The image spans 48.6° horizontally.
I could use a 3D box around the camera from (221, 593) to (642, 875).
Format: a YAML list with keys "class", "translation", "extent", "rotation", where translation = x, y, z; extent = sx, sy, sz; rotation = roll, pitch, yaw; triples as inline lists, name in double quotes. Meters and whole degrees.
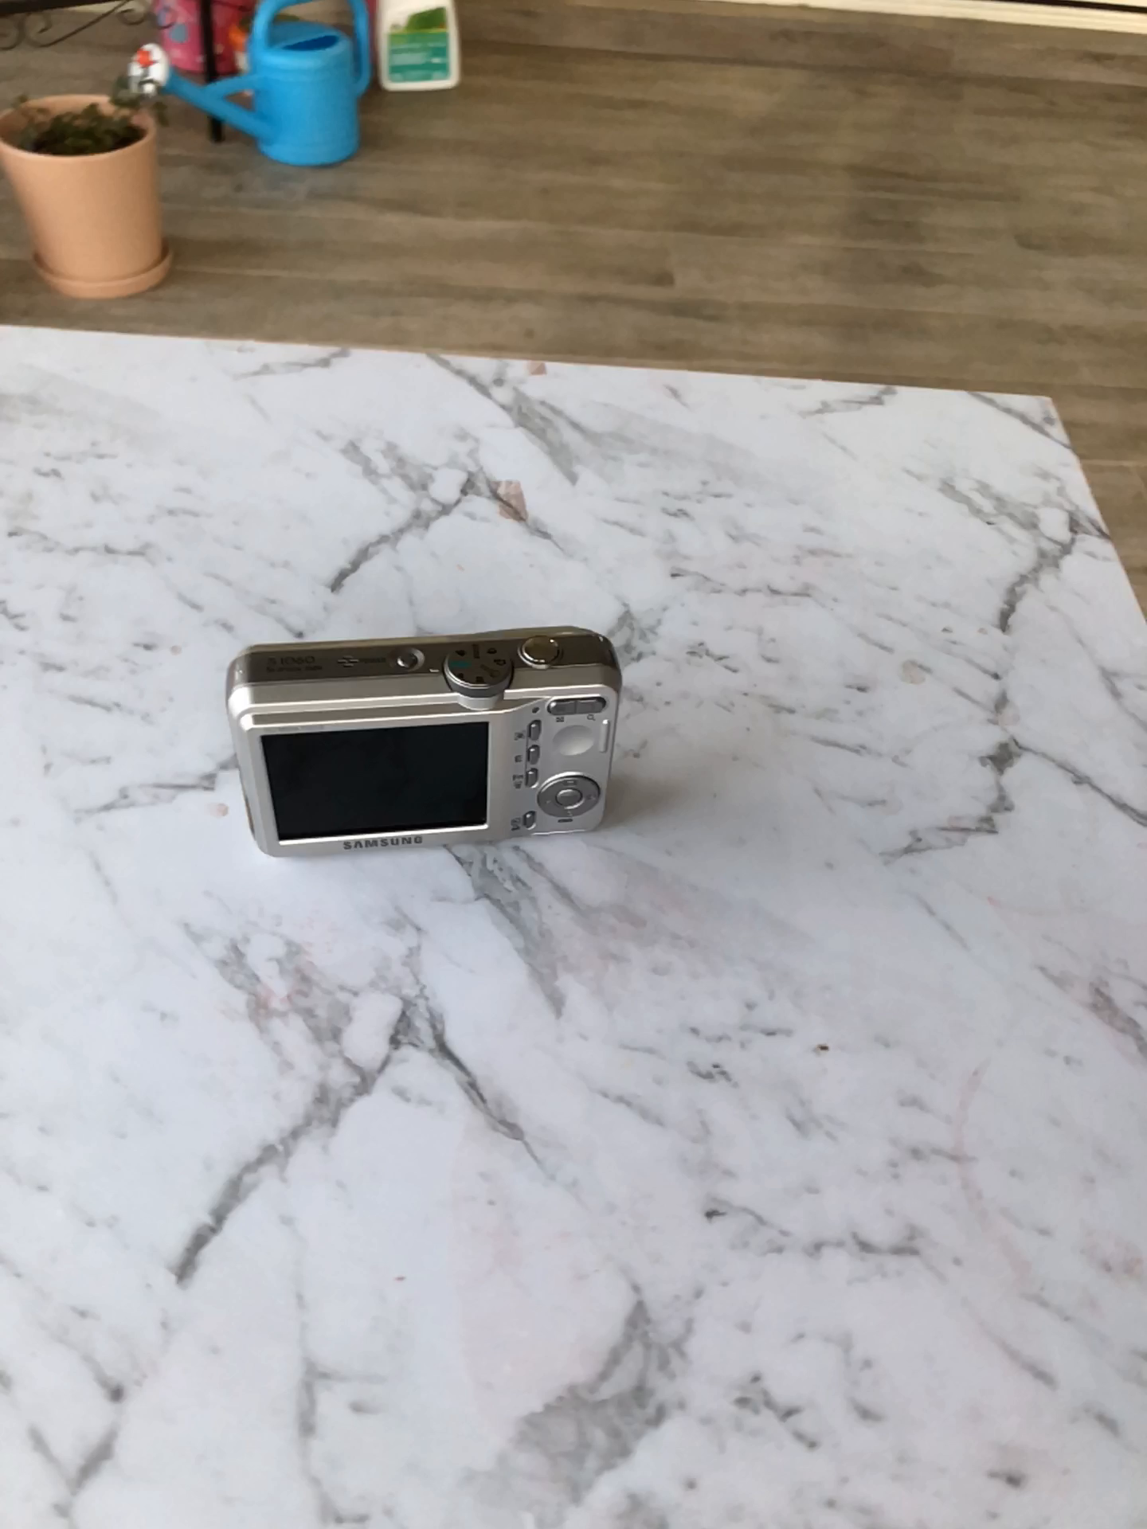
- class: "camera"
  translation: [-0.037, -0.008, 0.334]
  extent: [0.099, 0.061, 0.034]
  rotation: [-4, 48, -9]
